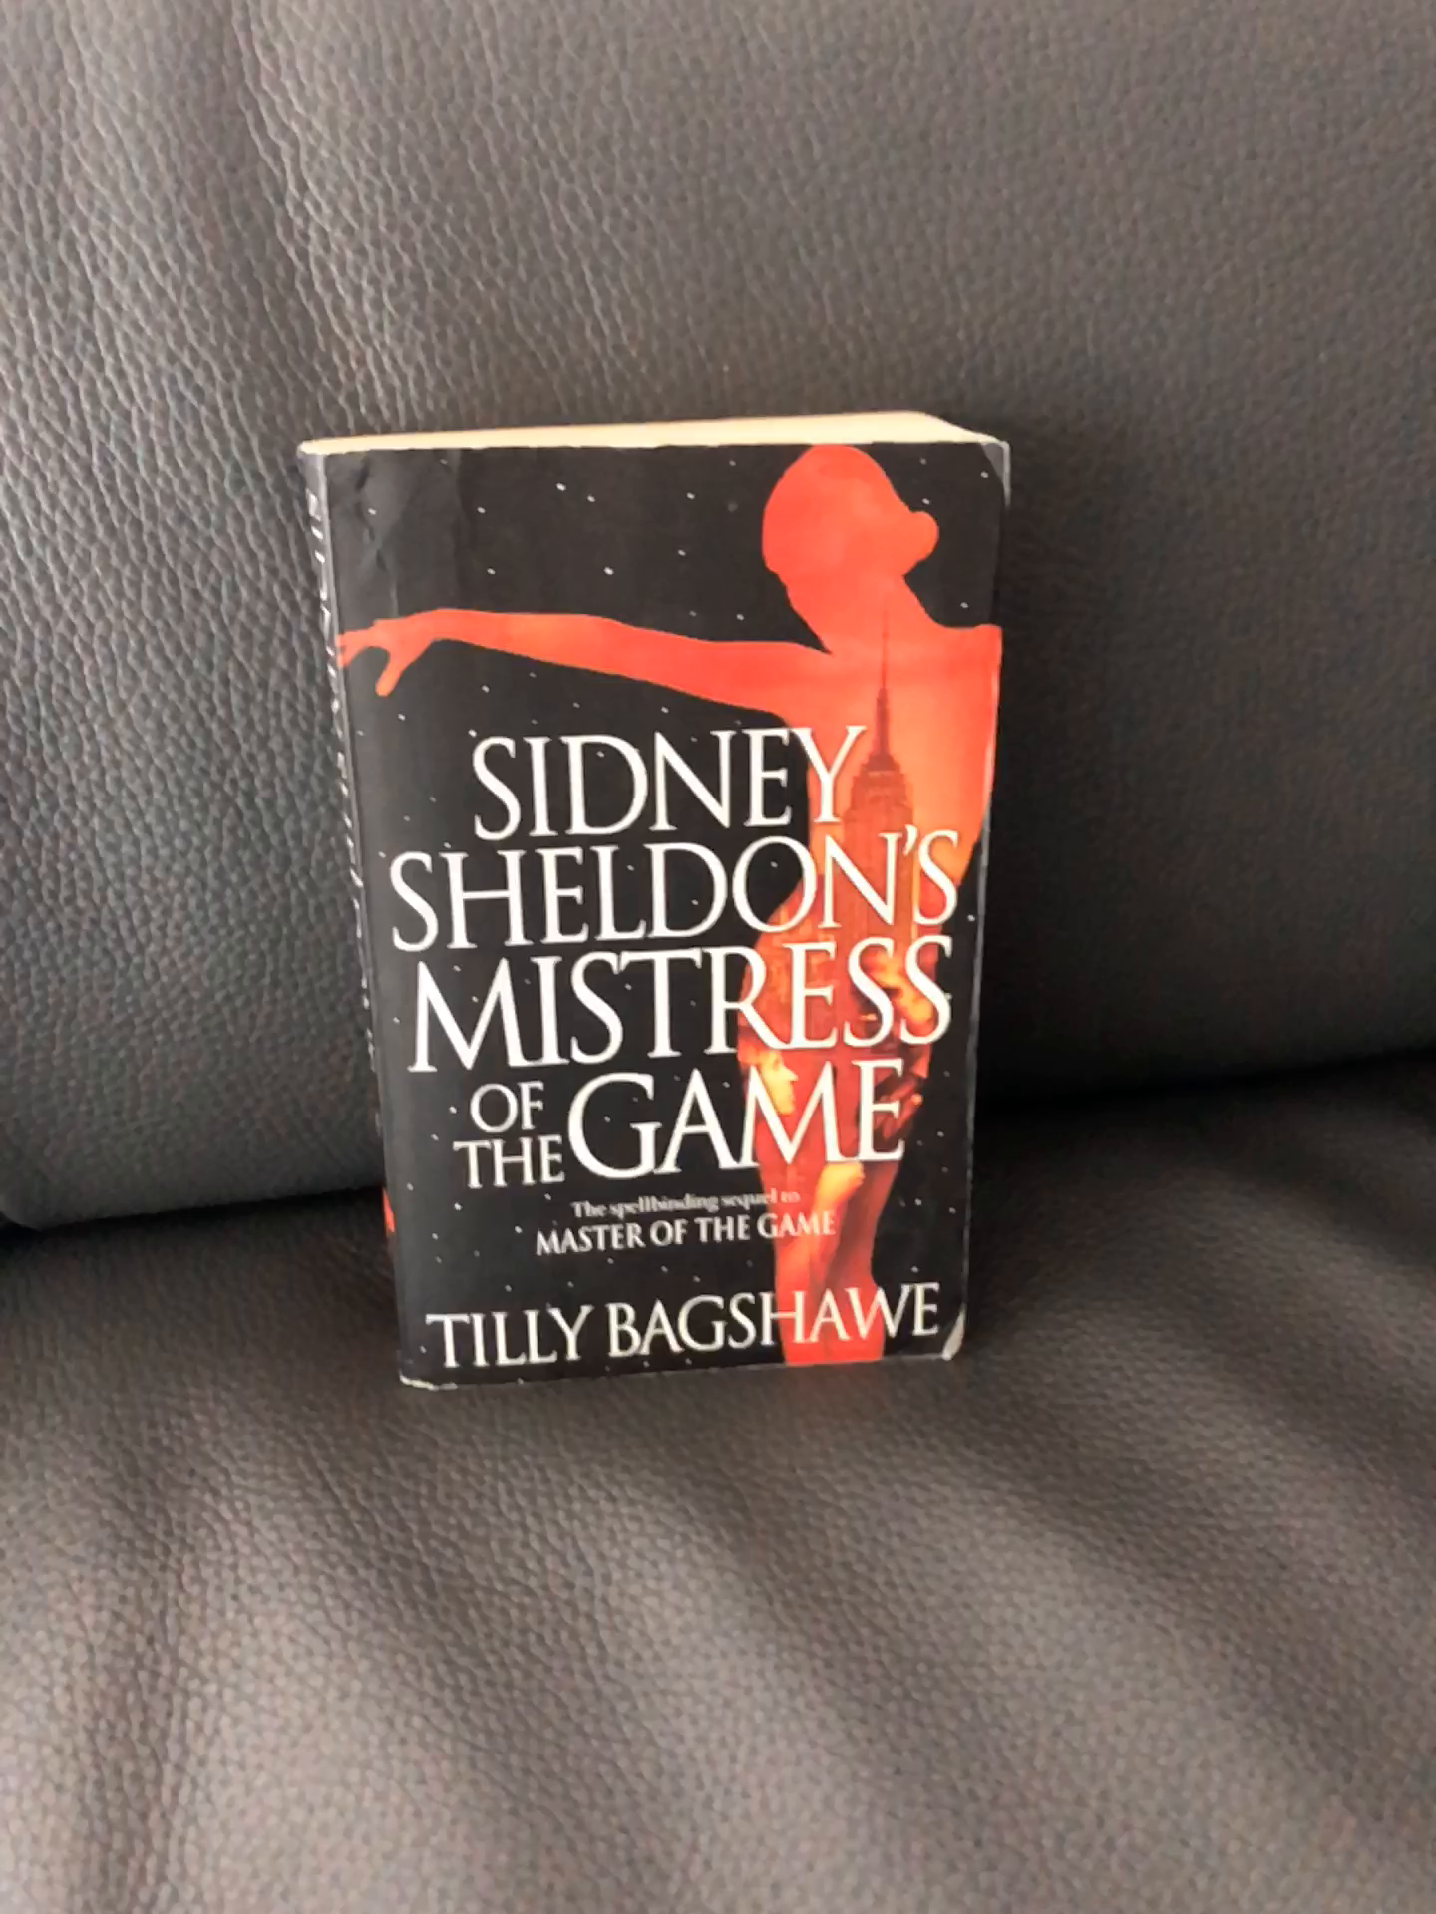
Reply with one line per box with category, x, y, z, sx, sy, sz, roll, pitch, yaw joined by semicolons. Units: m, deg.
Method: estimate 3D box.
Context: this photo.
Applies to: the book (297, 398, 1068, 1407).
book;-0.004;-0.007;0.303;0.118;0.179;0.046;-3;23;-4
